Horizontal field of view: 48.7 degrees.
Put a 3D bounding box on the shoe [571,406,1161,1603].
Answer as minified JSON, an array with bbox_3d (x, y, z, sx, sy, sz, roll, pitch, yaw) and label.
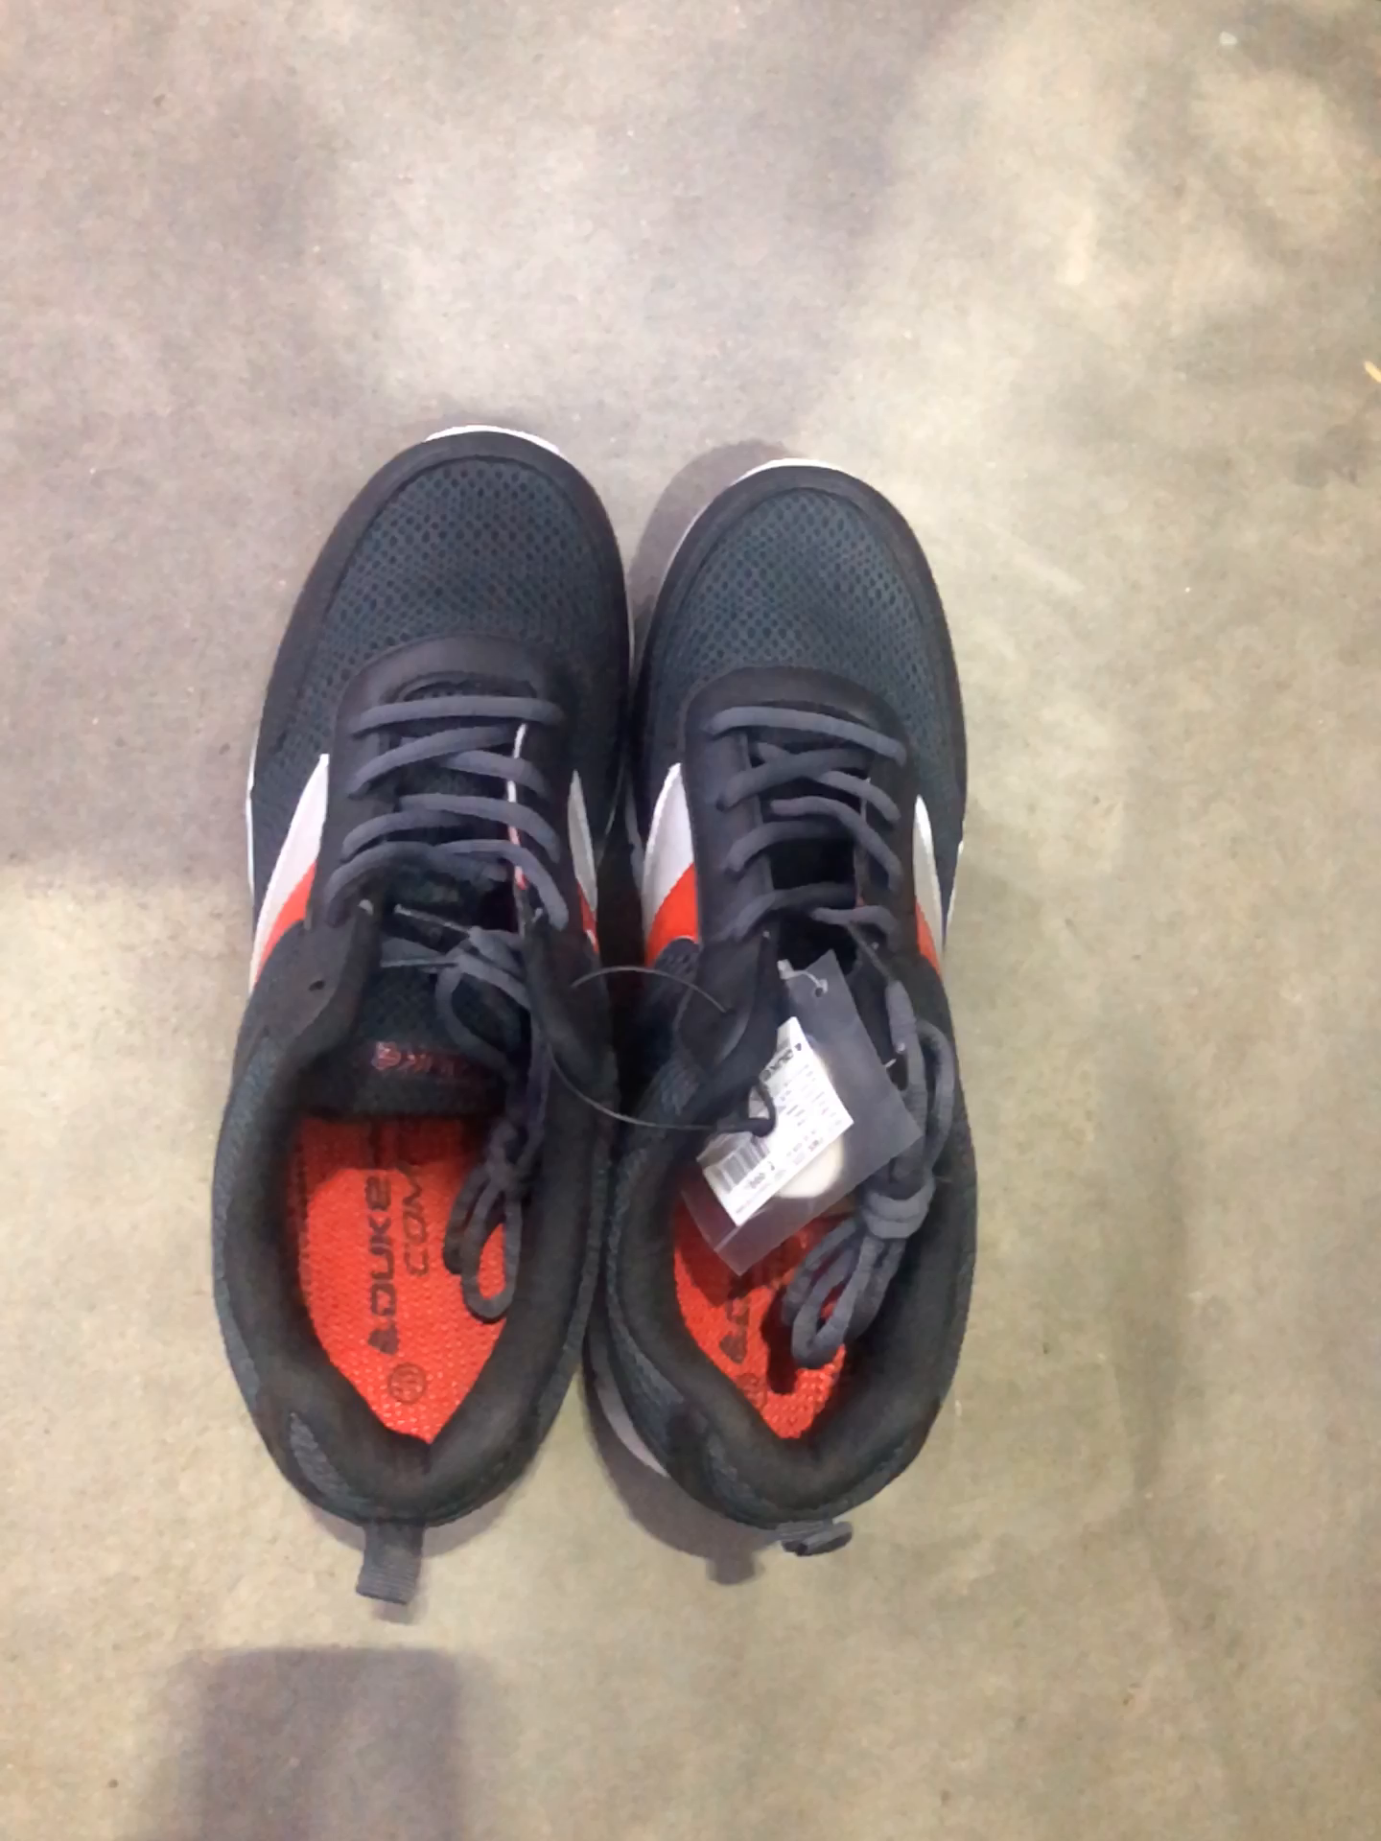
[{"bbox_3d":[0.042,0.022,0.406,0.110,0.100,0.270,6,84,-9],"label":"shoe"}]

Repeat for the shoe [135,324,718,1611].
[{"bbox_3d":[-0.061,0.011,0.378,0.110,0.100,0.270,3,85,-10],"label":"shoe"}]
